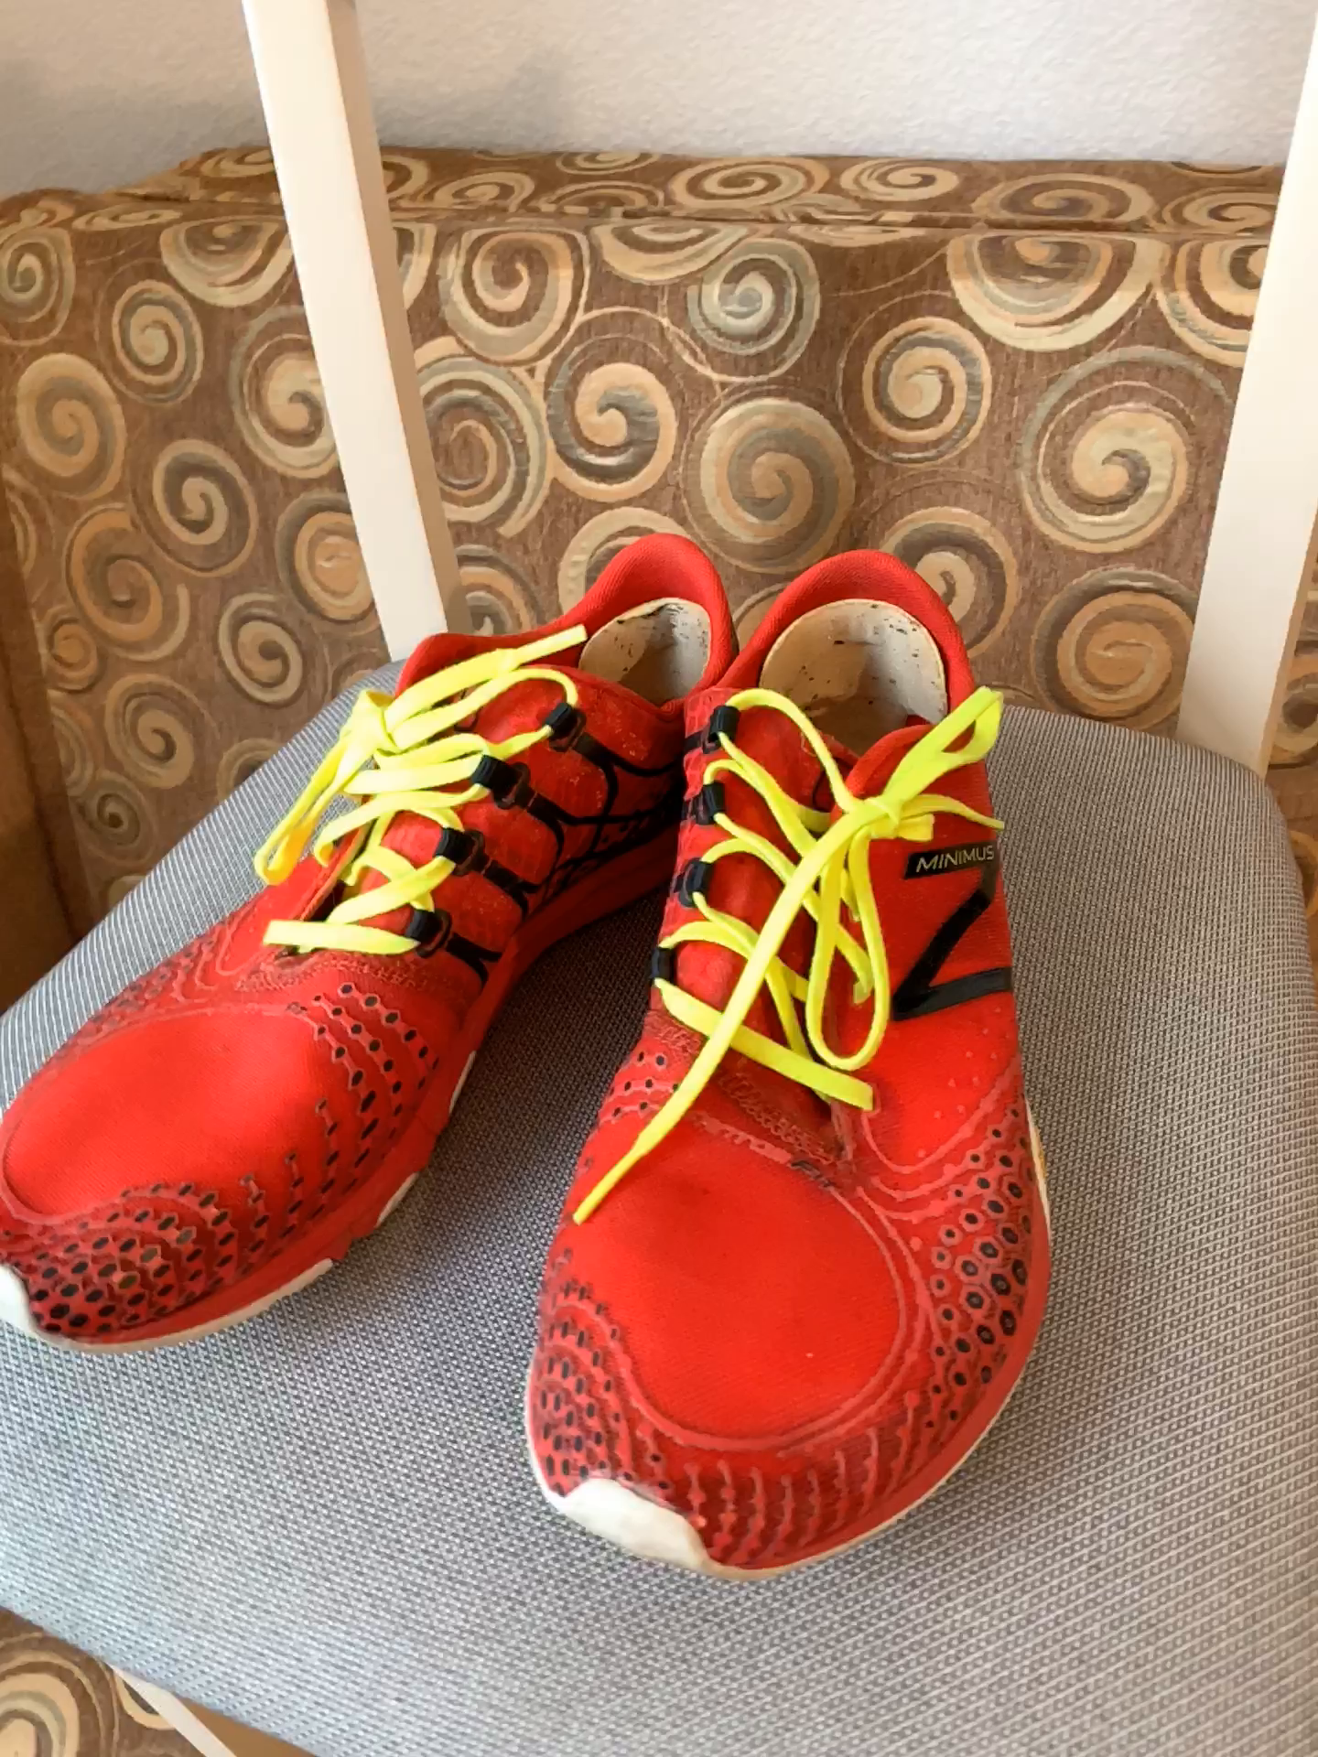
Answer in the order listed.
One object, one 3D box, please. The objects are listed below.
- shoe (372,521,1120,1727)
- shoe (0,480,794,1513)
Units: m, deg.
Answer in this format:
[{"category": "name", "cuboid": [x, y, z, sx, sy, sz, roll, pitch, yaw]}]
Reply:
[{"category": "shoe", "cuboid": [0.043, 0.030, 0.322, 0.110, 0.090, 0.261, 6, 49, 14]}, {"category": "shoe", "cuboid": [-0.079, 0.010, 0.367, 0.110, 0.090, 0.261, 23, 55, 27]}]
